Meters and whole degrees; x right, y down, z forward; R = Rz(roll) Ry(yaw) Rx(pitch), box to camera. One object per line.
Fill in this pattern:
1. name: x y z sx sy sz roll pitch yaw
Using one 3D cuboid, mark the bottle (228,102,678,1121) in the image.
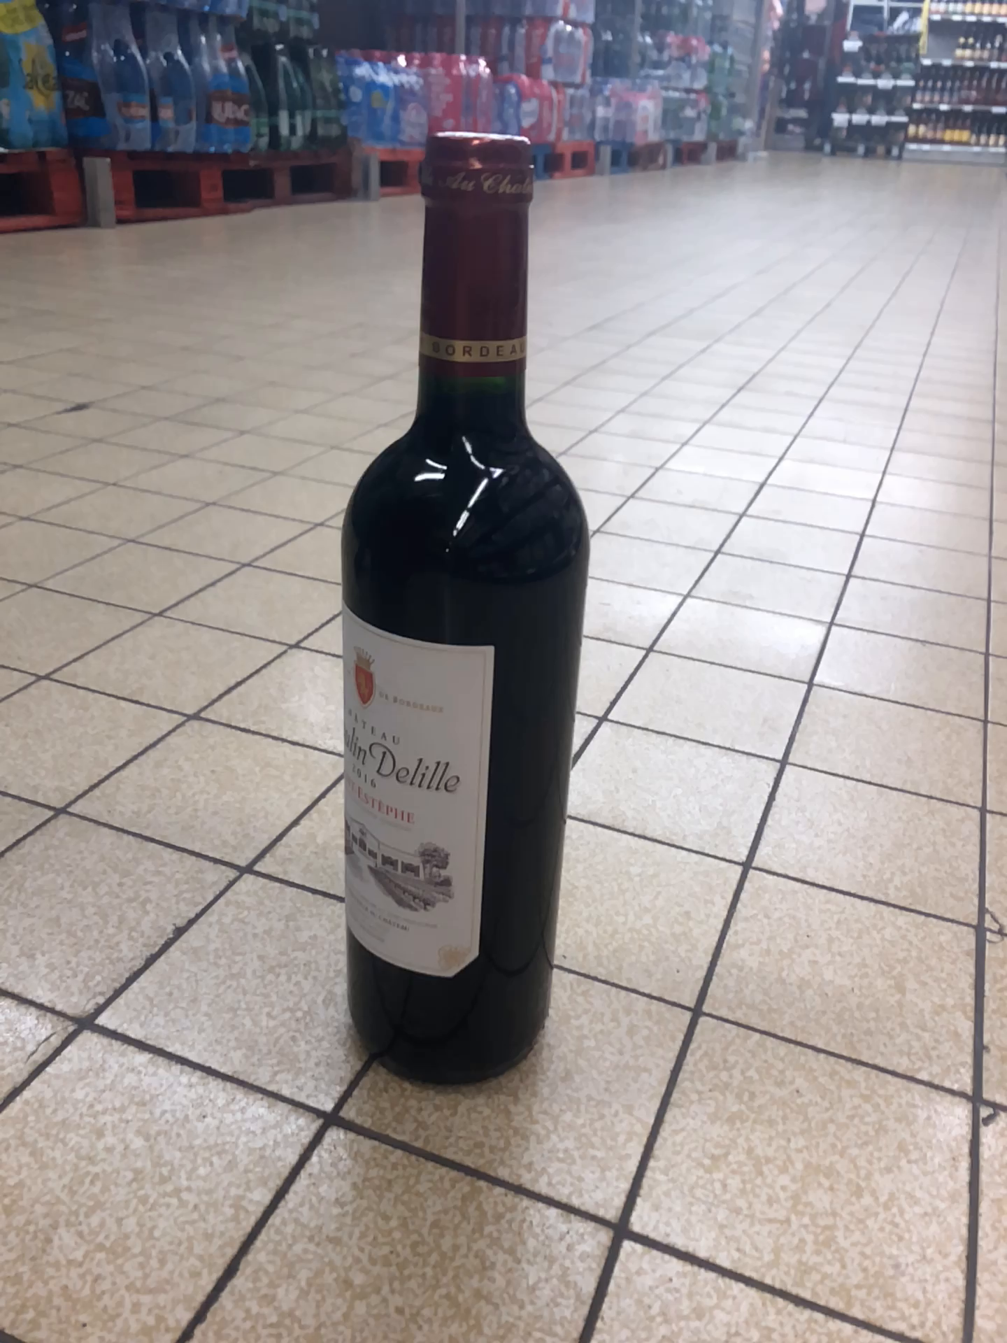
1. bottle: -0.021 -0.011 0.335 0.080 0.281 0.080 3 26 -1
